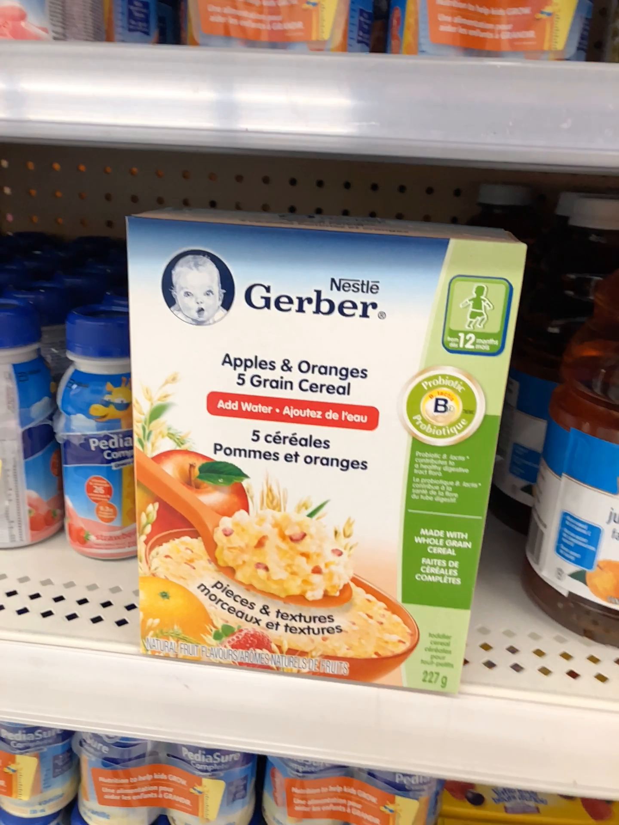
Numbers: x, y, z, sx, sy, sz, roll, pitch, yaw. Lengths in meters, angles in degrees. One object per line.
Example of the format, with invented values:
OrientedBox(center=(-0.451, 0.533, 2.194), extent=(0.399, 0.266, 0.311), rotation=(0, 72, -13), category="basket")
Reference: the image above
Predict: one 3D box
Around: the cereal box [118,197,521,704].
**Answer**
OrientedBox(center=(-0.002, 0.018, 0.295), extent=(0.140, 0.199, 0.050), rotation=(6, 20, 4), category="cereal box")
